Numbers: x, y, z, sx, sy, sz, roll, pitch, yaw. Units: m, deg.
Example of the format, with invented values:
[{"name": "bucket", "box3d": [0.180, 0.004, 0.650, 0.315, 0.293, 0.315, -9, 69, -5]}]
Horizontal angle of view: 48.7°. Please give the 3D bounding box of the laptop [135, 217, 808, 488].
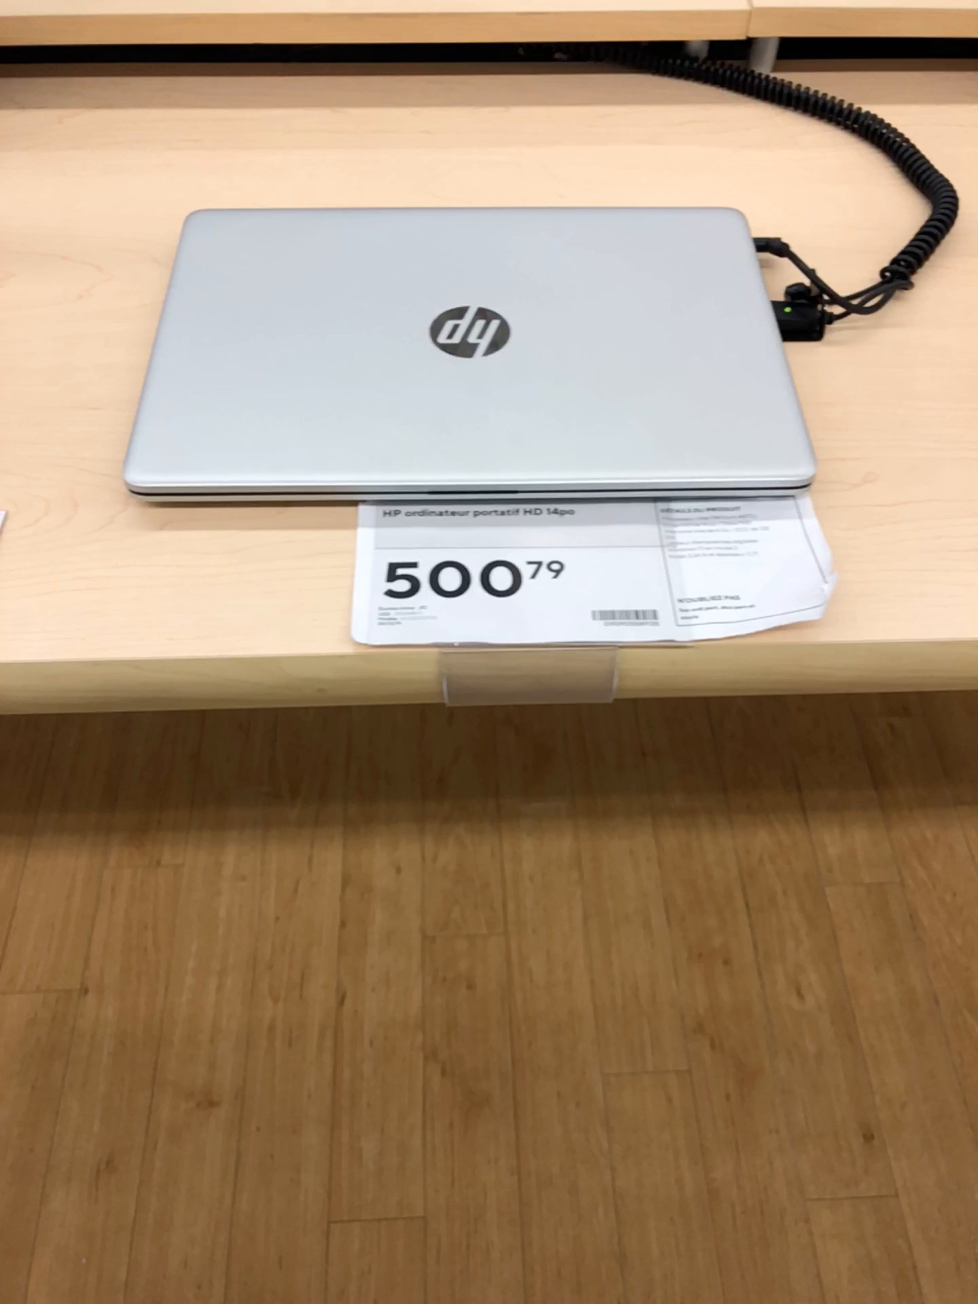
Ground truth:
[{"name": "laptop", "box3d": [-0.008, -0.163, 0.558, 0.309, 0.004, 0.206, -1, 54, -3]}]
